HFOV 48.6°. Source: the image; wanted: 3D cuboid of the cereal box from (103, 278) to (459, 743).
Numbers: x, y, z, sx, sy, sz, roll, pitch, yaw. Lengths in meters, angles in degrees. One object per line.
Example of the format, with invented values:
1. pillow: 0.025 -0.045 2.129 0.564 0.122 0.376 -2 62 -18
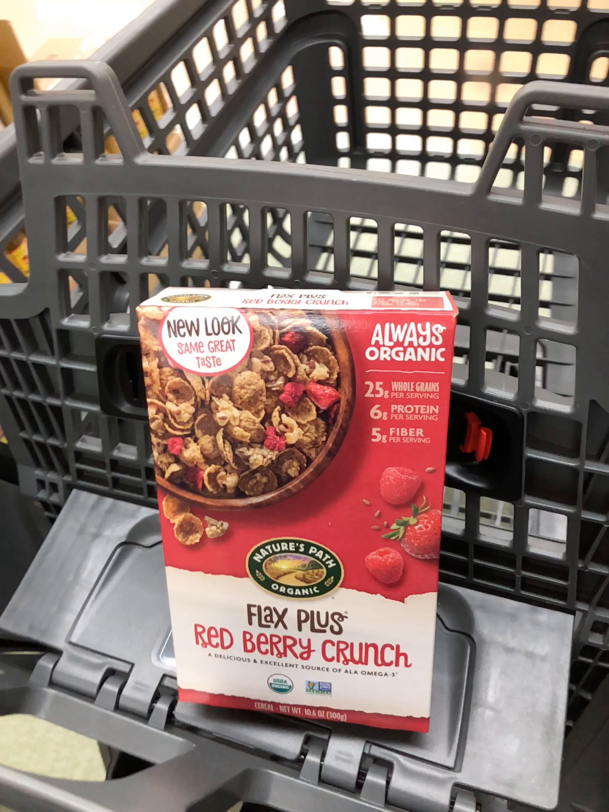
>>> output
1. cereal box: -0.005 0.058 0.388 0.170 0.250 0.070 2 20 11
